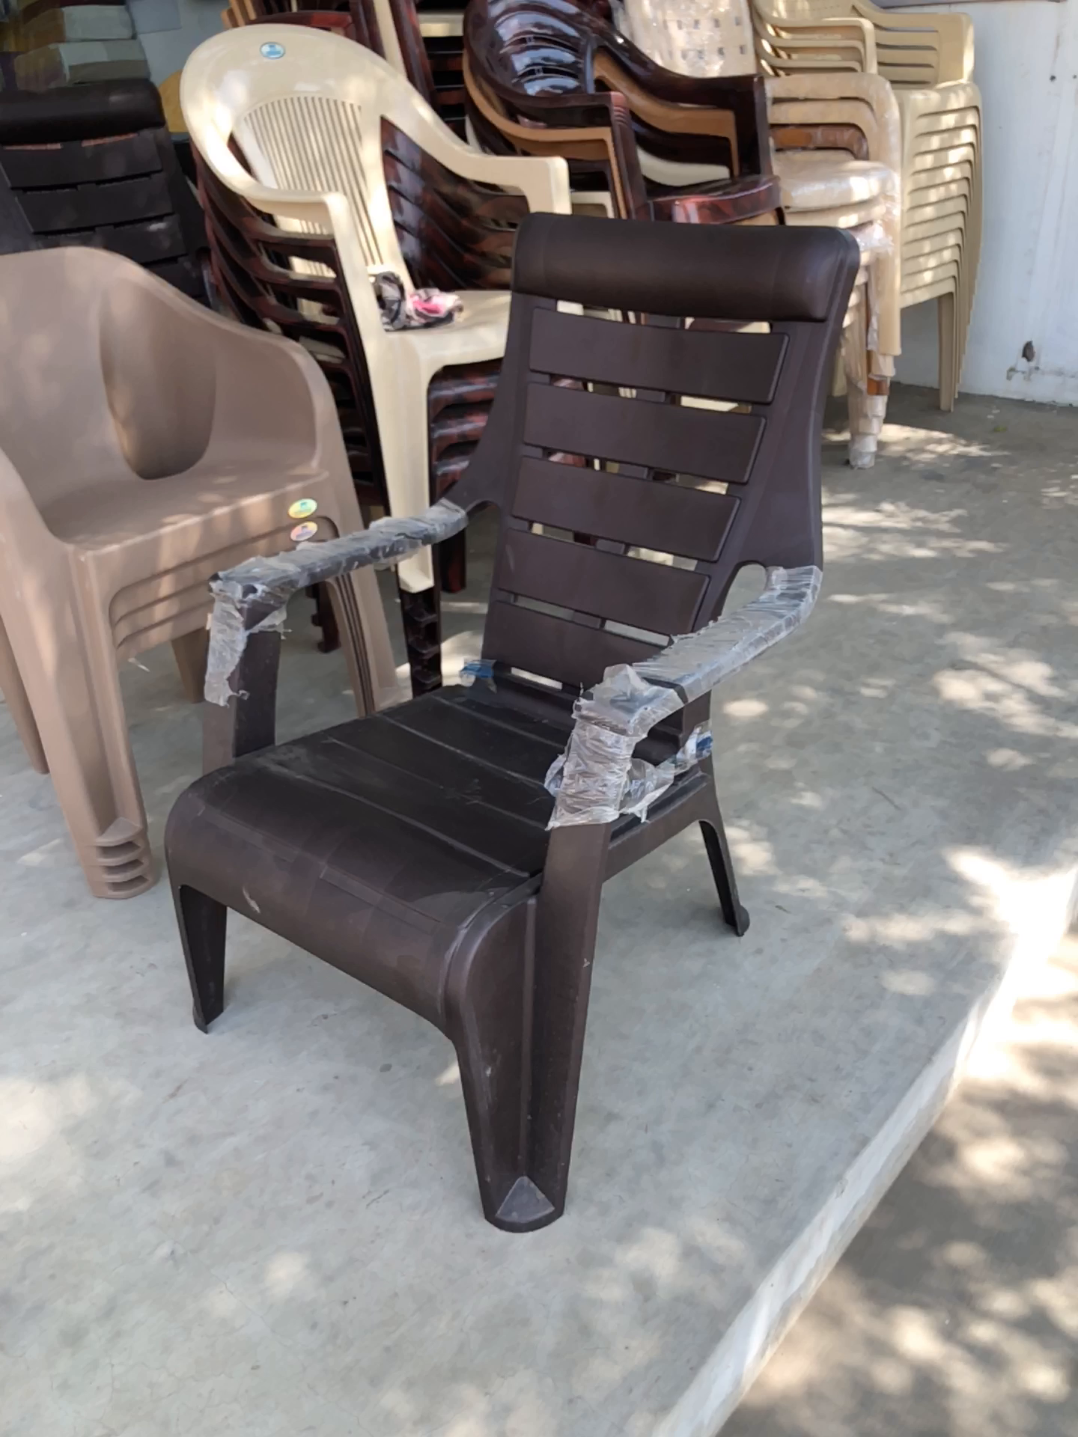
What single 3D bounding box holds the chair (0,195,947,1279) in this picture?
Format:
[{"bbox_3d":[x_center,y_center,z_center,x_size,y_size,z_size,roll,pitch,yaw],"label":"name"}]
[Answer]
[{"bbox_3d":[-0.050,-0.087,1.384,0.680,0.875,0.764,19,36,35],"label":"chair"}]
